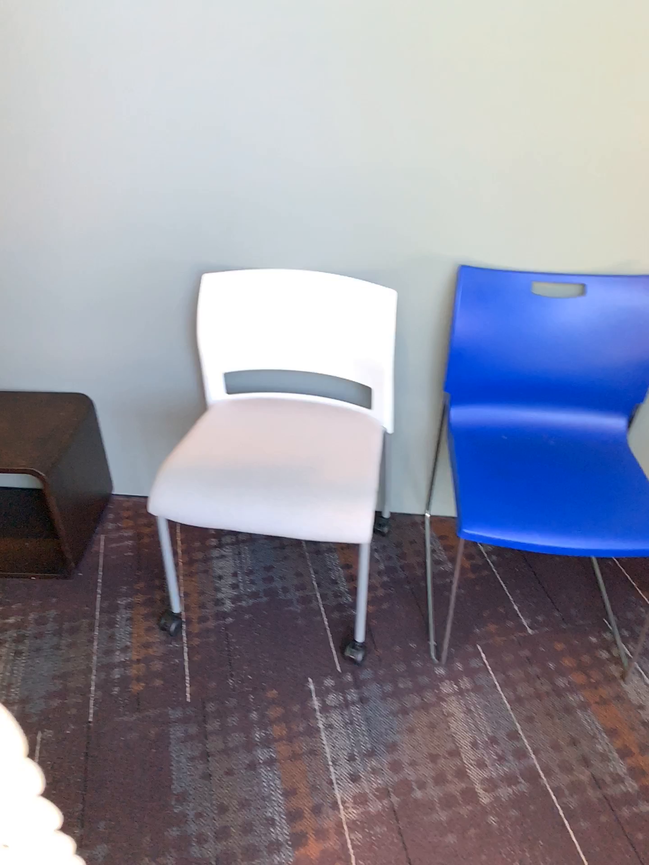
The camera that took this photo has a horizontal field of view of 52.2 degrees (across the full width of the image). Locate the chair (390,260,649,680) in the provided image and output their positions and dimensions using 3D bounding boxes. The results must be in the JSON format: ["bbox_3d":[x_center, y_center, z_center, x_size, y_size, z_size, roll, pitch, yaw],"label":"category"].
[{"bbox_3d":[0.491,0.060,1.653,0.590,0.795,0.623,4,29,5],"label":"chair"}]

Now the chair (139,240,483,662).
[{"bbox_3d":[-0.072,0.048,1.580,0.590,0.795,0.564,3,33,-6],"label":"chair"}]
